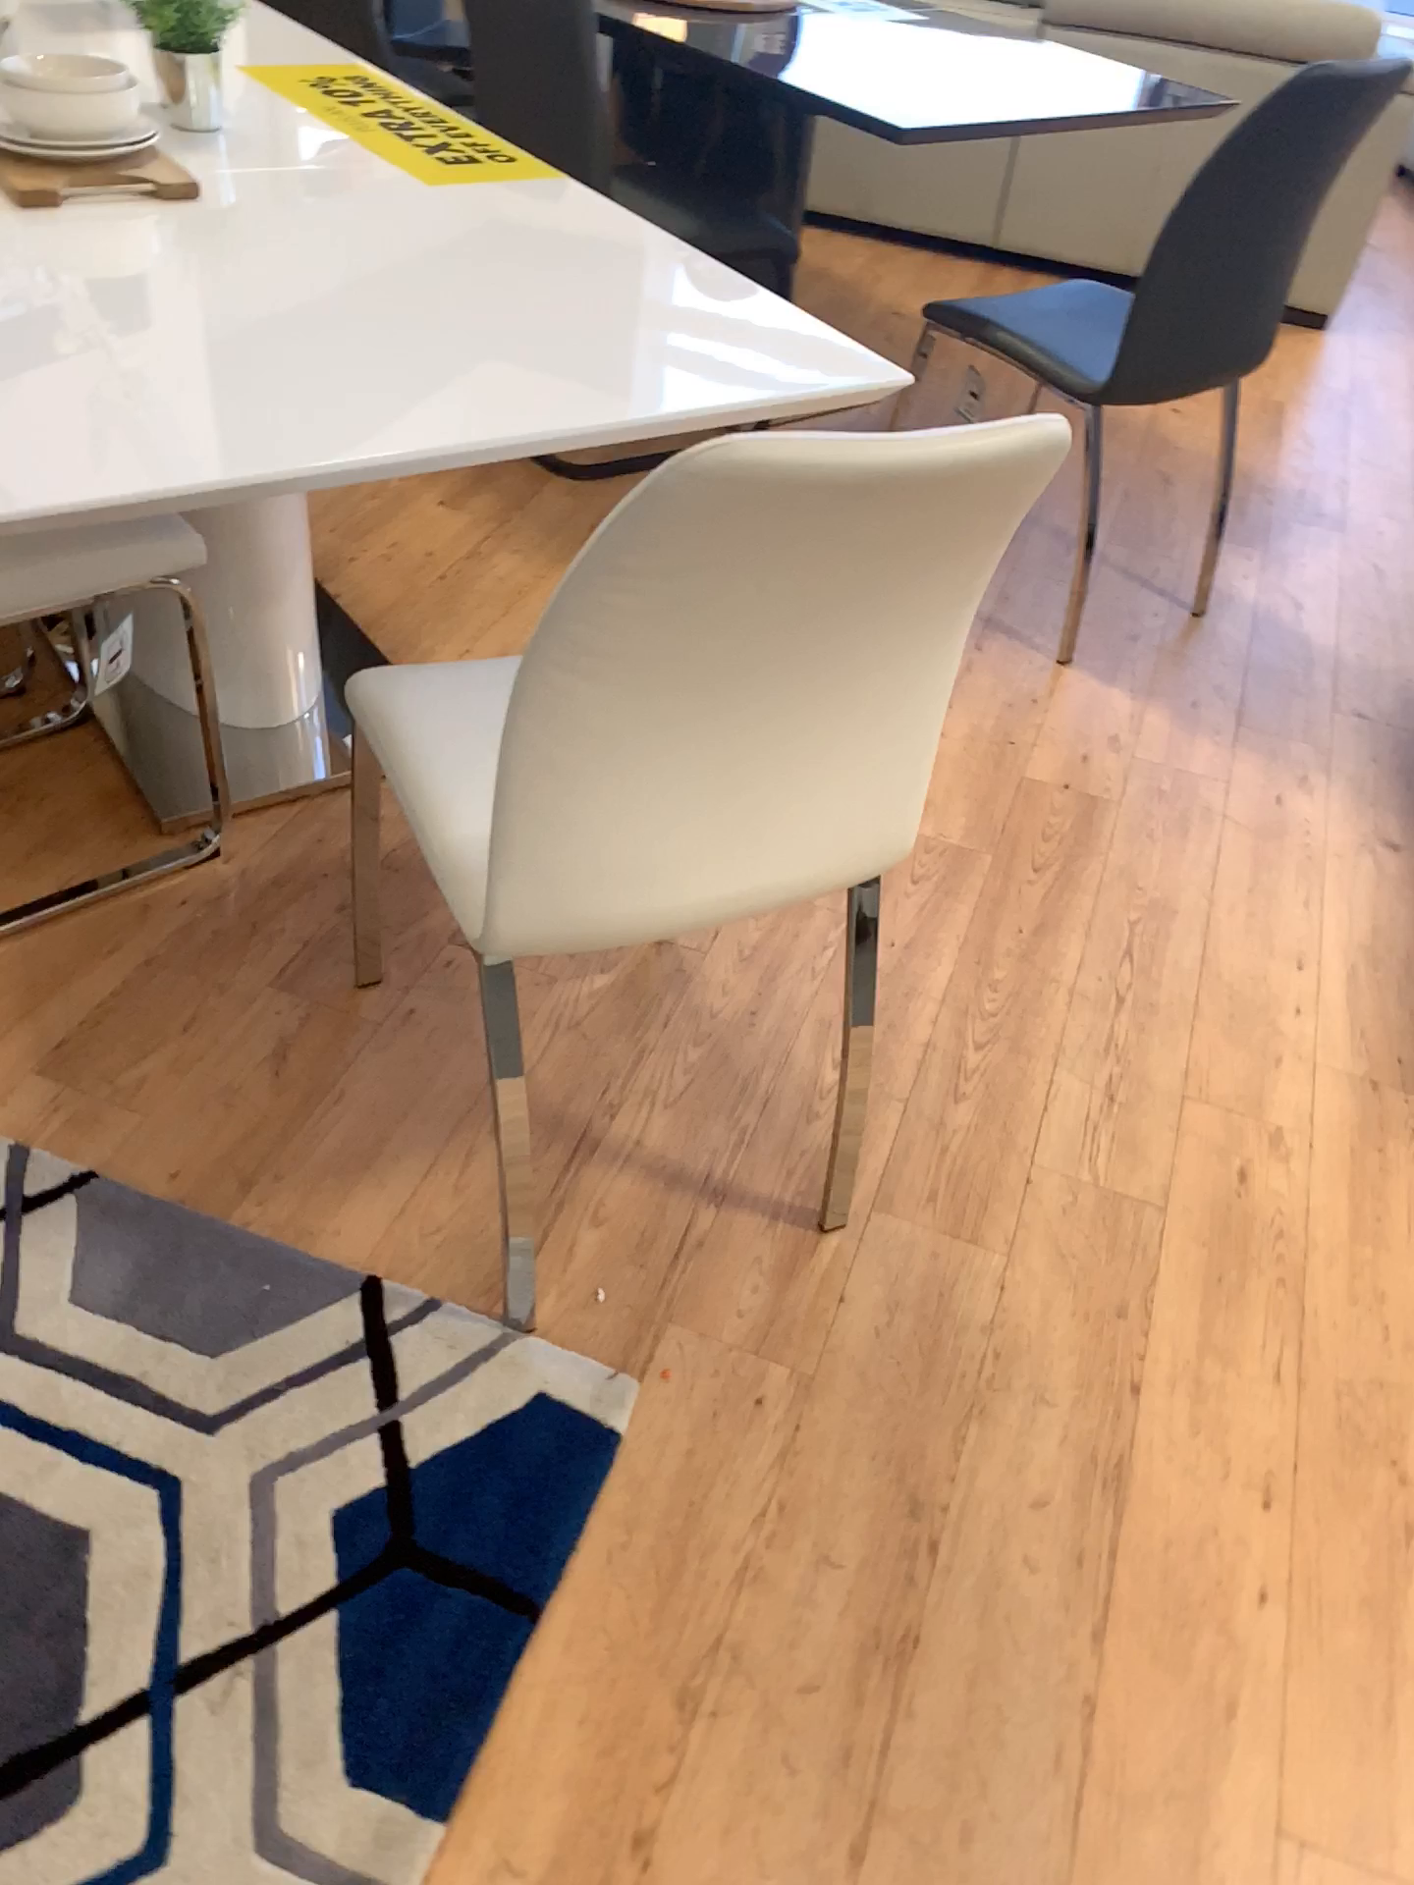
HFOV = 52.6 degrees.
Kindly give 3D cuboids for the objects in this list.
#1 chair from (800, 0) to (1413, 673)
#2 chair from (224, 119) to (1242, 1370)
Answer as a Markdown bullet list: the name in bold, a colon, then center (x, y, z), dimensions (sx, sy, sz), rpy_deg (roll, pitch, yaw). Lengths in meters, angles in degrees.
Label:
- **chair**: center (0.576, -0.996, 2.288), dimensions (0.517, 0.863, 0.552), rpy_deg (-20, 48, -28)
- **chair**: center (-0.061, -0.193, 1.319), dimensions (0.516, 0.863, 0.633), rpy_deg (-14, 45, -23)
